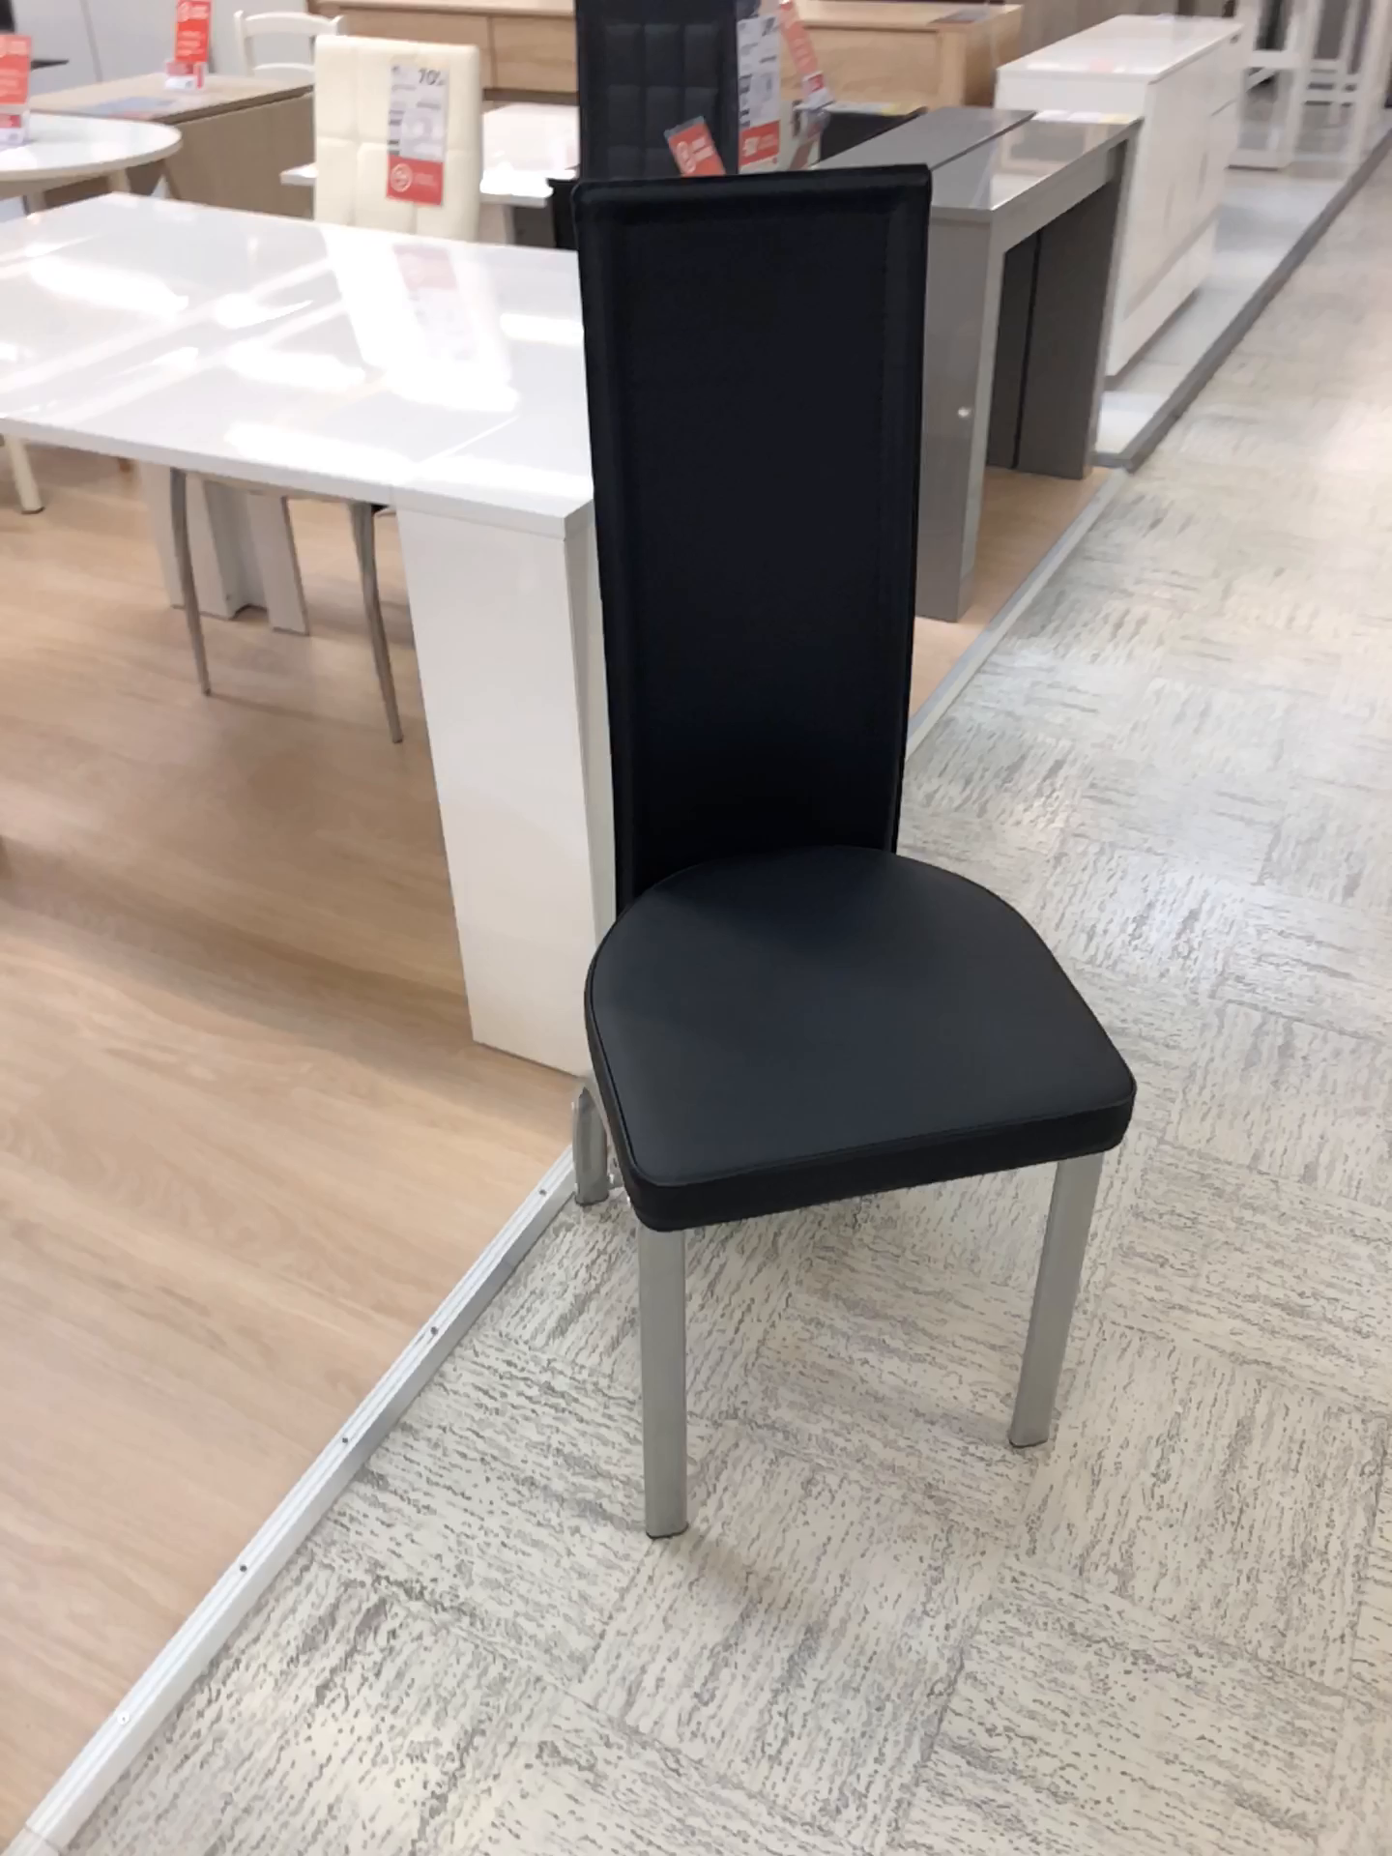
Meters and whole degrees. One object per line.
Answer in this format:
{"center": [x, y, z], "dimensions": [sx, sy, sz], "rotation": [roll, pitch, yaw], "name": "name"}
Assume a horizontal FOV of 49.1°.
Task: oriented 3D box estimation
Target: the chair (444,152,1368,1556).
{"center": [0.099, -0.035, 1.278], "dimensions": [0.451, 1.014, 0.492], "rotation": [-9, 36, -11], "name": "chair"}
